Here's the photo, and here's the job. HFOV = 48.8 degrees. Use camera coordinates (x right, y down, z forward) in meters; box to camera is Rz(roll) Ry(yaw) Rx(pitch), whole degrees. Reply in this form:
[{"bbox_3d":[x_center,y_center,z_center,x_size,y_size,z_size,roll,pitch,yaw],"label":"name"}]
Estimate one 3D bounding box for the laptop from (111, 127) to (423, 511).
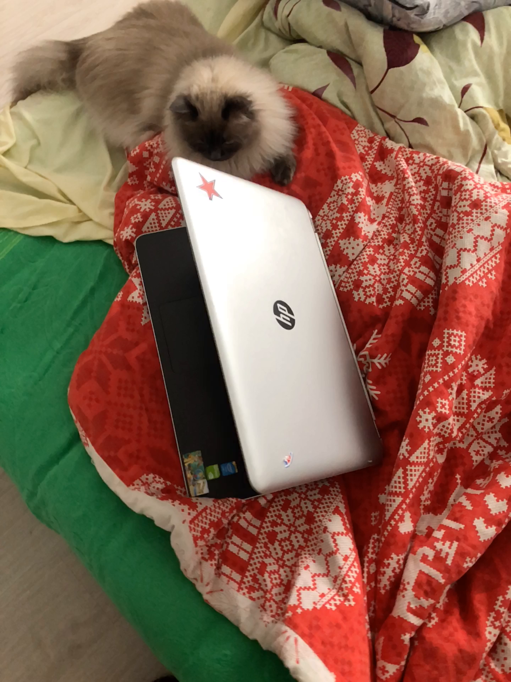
[{"bbox_3d":[0.000,-0.026,0.746,0.276,0.176,0.414,-12,73,-6],"label":"laptop"}]
